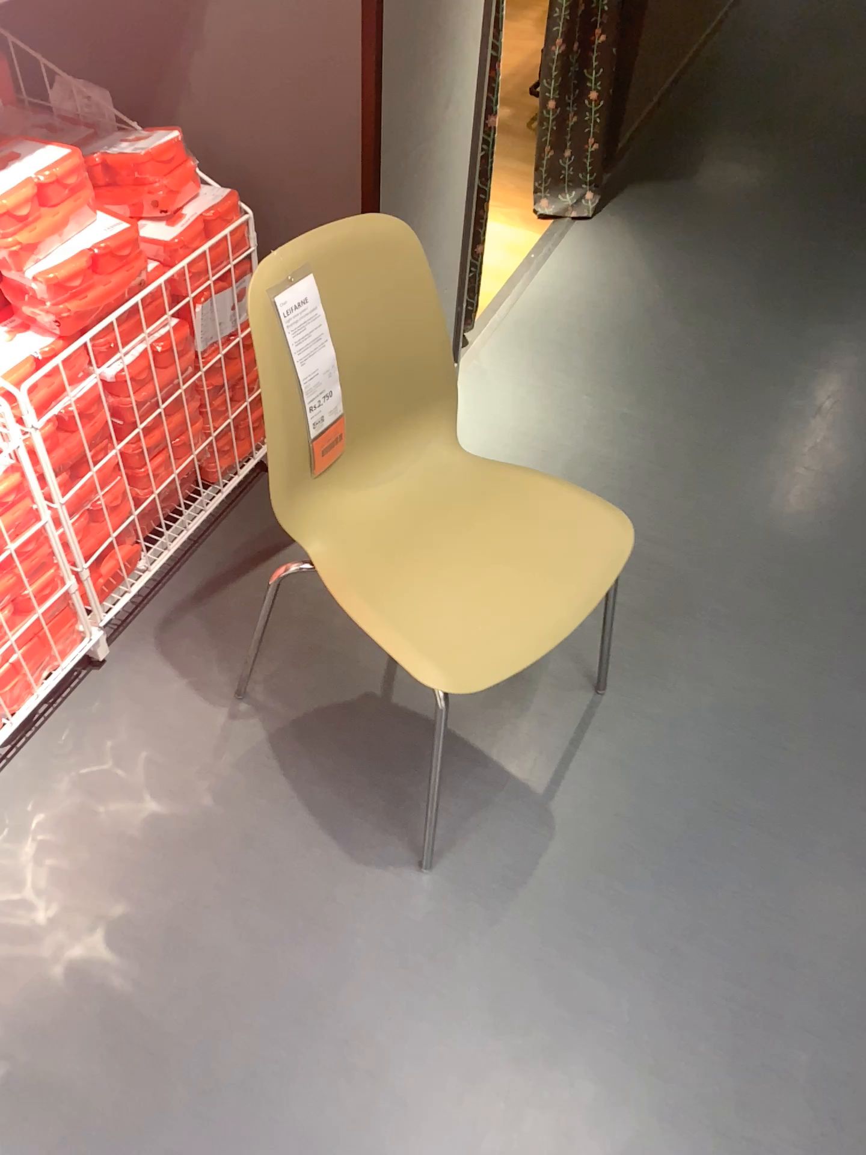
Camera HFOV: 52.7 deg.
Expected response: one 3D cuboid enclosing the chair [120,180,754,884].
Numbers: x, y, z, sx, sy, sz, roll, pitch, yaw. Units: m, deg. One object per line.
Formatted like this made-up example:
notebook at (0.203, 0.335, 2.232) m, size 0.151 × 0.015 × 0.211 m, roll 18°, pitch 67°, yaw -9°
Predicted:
chair at (-0.014, -0.057, 1.295) m, size 0.551 × 0.728 × 0.501 m, roll 37°, pitch 56°, yaw 25°
